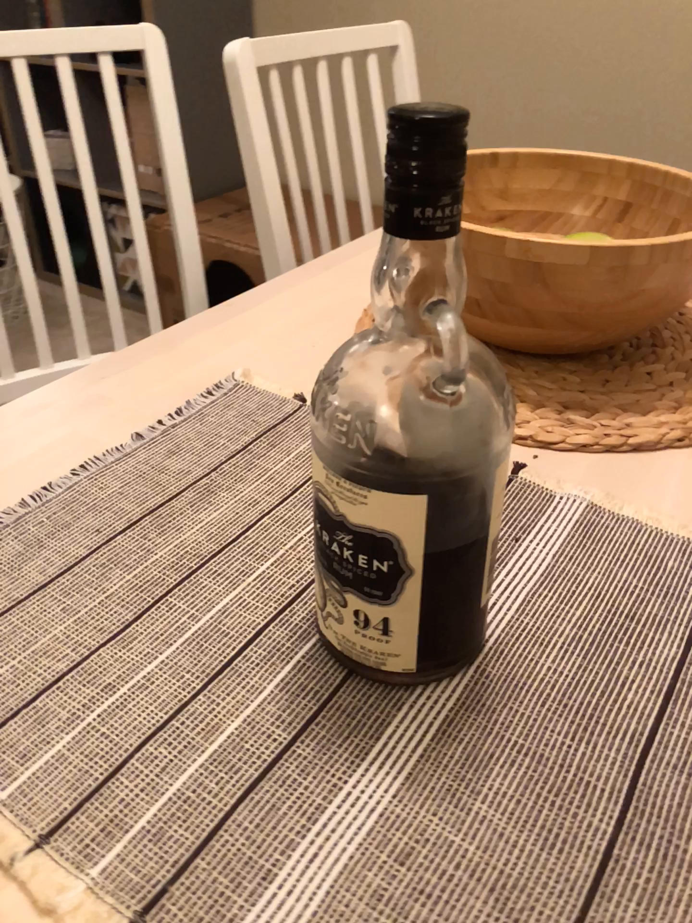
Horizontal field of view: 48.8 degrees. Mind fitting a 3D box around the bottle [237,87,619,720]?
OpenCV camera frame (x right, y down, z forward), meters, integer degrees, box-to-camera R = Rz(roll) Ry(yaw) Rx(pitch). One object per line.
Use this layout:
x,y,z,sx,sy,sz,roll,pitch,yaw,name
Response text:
0.022,-0.020,0.340,0.100,0.248,0.100,1,33,0,bottle
